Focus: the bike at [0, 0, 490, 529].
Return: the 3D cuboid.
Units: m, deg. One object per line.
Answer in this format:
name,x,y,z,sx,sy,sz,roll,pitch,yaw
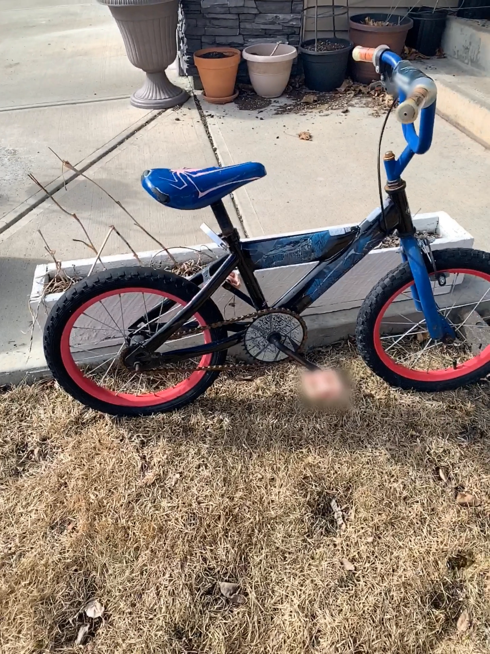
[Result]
bike,0.106,-0.123,0.891,1.023,0.728,0.538,-5,41,0
